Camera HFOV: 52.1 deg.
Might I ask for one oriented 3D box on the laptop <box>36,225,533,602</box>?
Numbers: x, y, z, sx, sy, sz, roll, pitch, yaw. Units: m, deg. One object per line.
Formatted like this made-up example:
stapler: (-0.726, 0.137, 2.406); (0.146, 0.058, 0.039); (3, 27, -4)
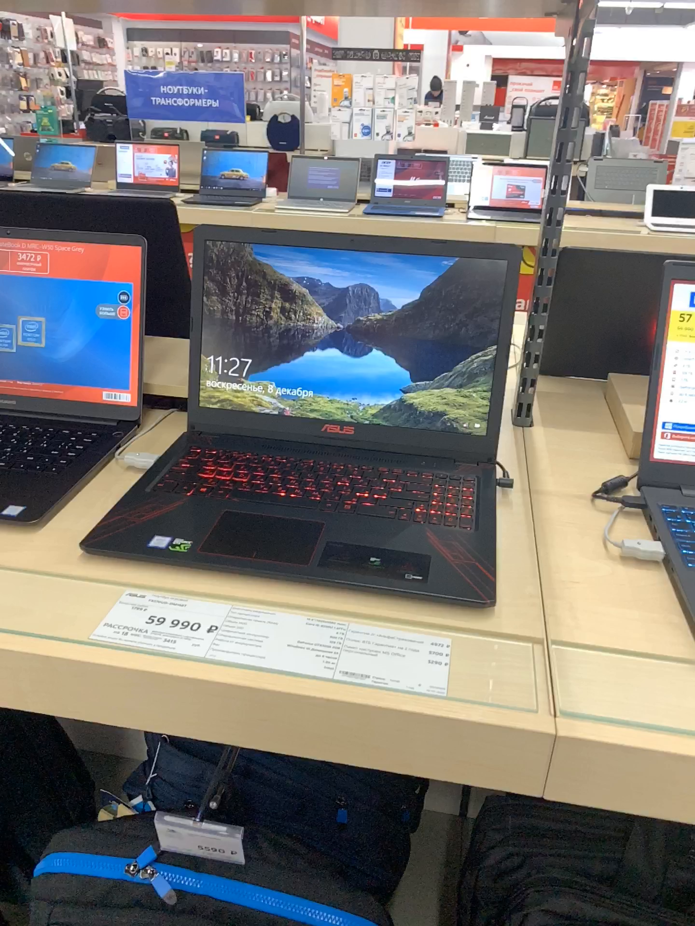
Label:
laptop: (-0.030, -0.080, 0.697); (0.366, 0.229, 0.319); (6, 27, 9)
